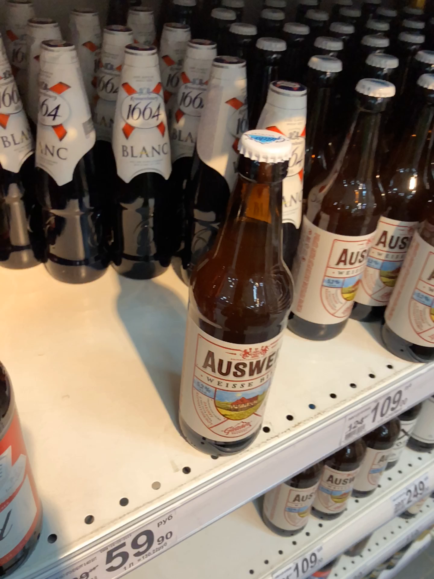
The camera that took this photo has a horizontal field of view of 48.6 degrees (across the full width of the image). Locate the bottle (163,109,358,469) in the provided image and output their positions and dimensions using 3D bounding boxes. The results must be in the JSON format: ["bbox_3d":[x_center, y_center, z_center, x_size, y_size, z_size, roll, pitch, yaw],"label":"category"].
[{"bbox_3d":[0.012,0.014,0.333,0.080,0.248,0.070,-8,40,-18],"label":"bottle"}]
